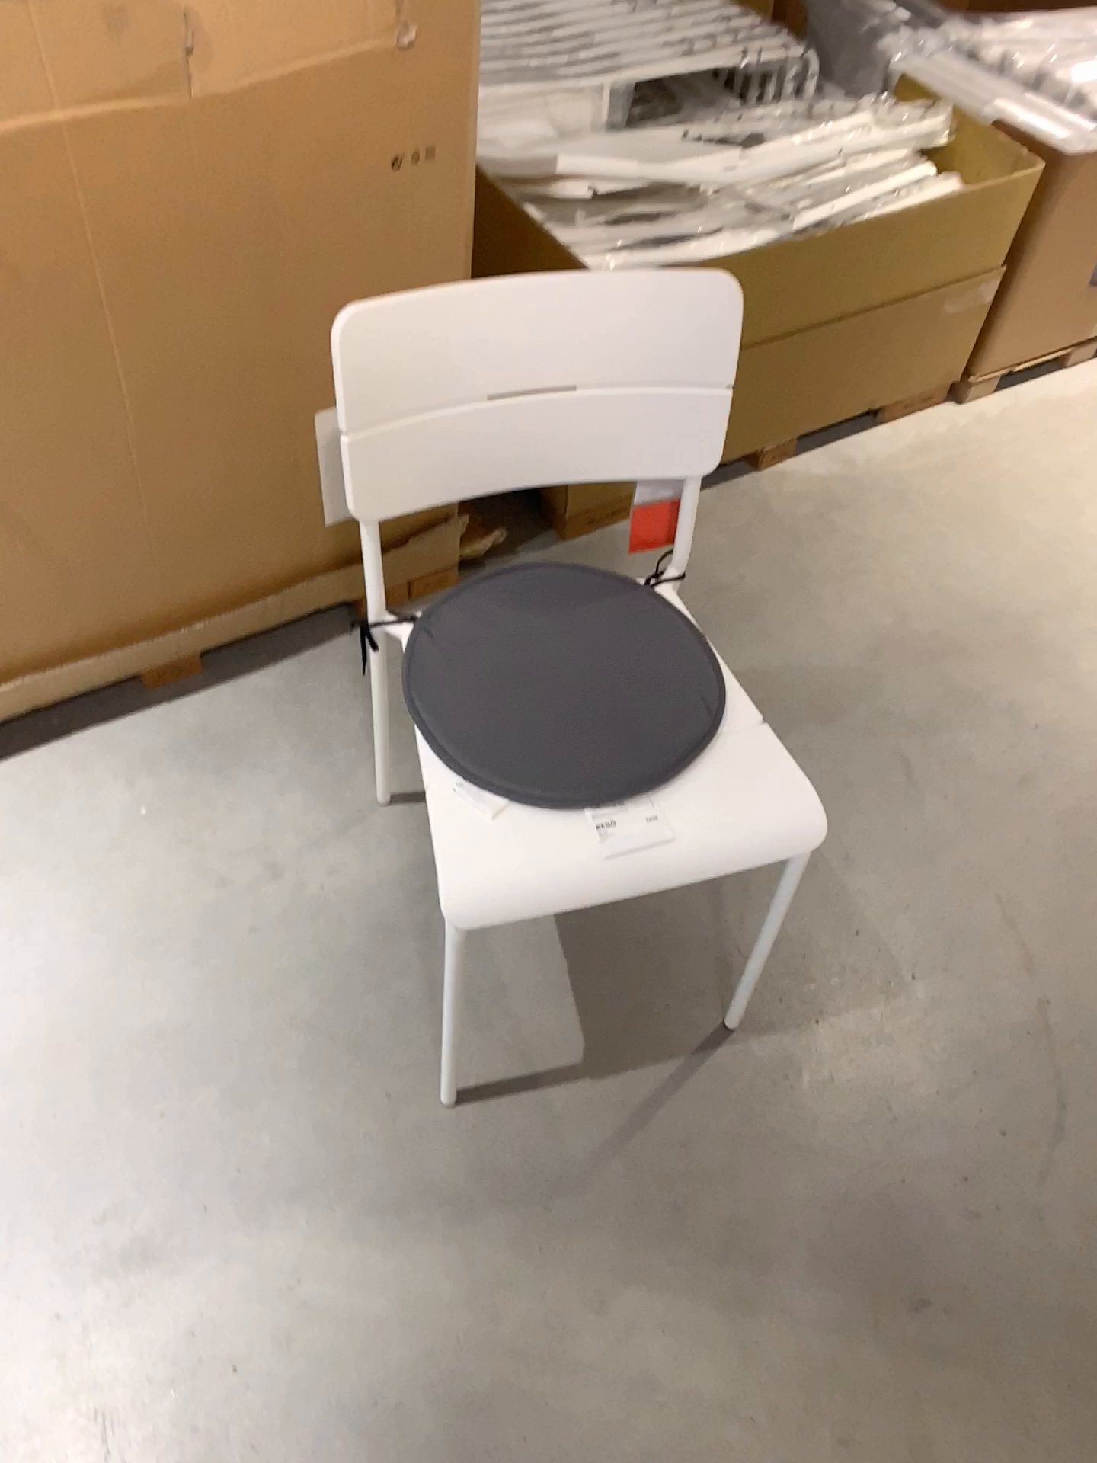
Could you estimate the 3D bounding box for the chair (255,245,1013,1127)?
[{"bbox_3d":[0.008,-0.015,1.145,0.460,0.718,0.491,-10,53,-14],"label":"chair"}]
